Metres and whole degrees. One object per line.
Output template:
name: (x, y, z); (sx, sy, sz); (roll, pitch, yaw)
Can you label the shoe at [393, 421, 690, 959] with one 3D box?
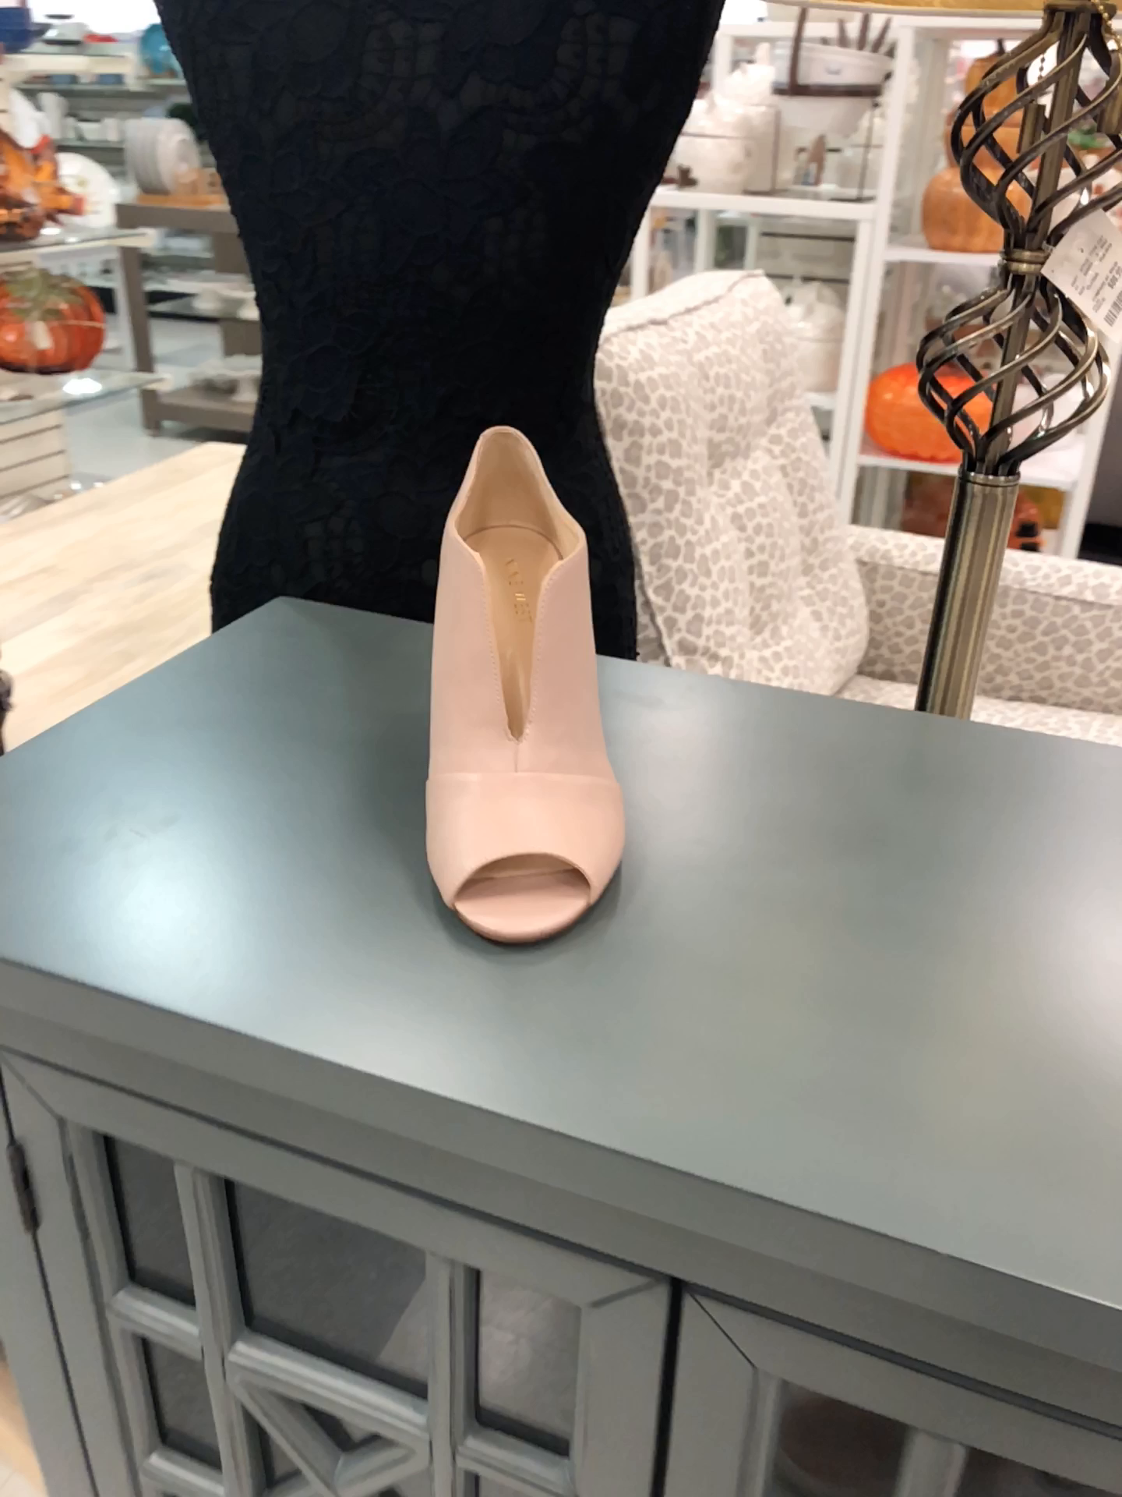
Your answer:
shoe: (-0.014, -0.040, 0.538); (0.097, 0.151, 0.226); (-1, 27, -3)
